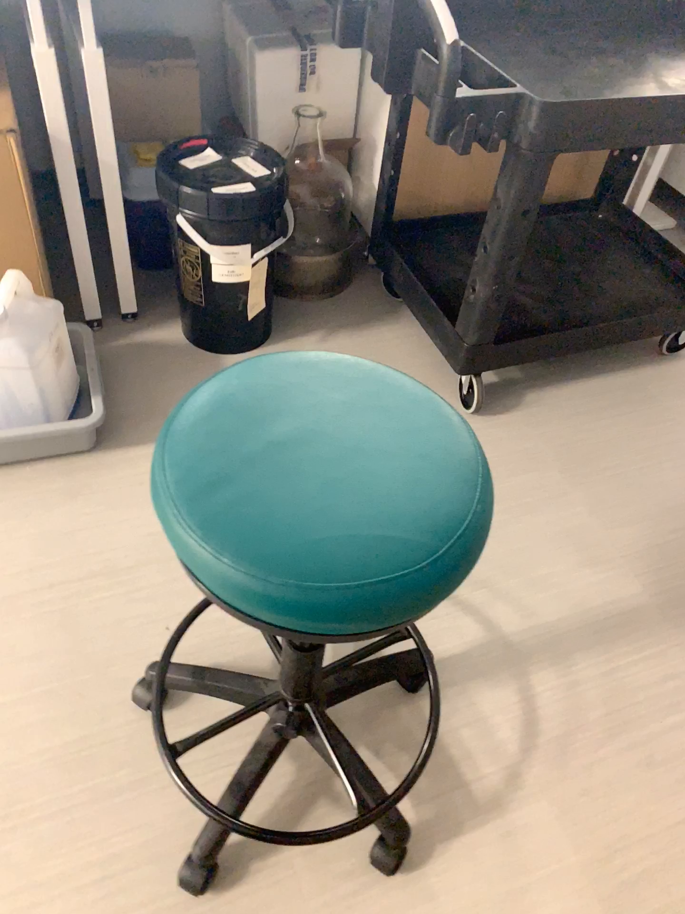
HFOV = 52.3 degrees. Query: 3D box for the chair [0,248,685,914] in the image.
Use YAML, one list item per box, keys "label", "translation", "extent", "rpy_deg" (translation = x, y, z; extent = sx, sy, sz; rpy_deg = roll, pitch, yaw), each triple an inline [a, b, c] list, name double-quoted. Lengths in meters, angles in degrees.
- label: "chair"
  translation: [-0.067, 0.234, 0.954]
  extent: [0.592, 0.654, 0.593]
  rpy_deg: [36, 53, 22]
